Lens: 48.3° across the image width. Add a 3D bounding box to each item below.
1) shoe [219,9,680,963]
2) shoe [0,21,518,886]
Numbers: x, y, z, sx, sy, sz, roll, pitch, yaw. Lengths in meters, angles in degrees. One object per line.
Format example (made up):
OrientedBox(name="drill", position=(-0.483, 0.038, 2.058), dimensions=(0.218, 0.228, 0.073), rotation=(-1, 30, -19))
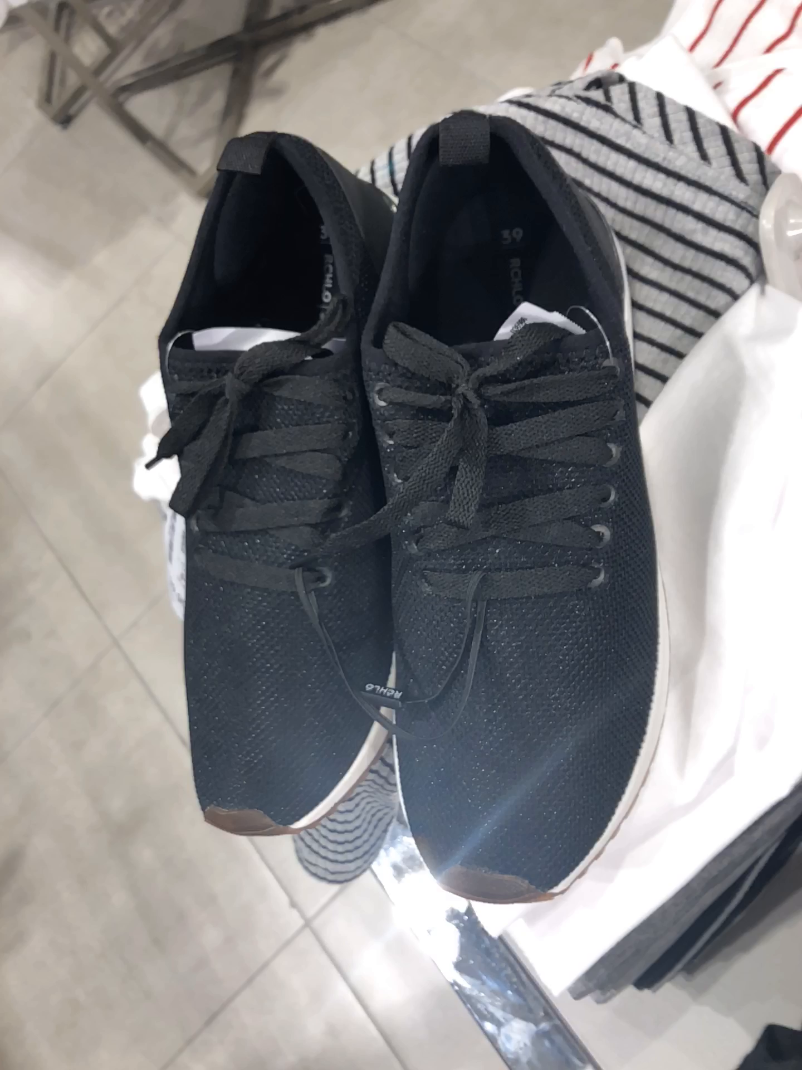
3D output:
OrientedBox(name="shoe", position=(0.036, -0.015, 0.304), dimensions=(0.100, 0.120, 0.270), rotation=(-2, 69, 22))
OrientedBox(name="shoe", position=(-0.039, -0.025, 0.331), dimensions=(0.100, 0.120, 0.260), rotation=(5, 78, 24))
